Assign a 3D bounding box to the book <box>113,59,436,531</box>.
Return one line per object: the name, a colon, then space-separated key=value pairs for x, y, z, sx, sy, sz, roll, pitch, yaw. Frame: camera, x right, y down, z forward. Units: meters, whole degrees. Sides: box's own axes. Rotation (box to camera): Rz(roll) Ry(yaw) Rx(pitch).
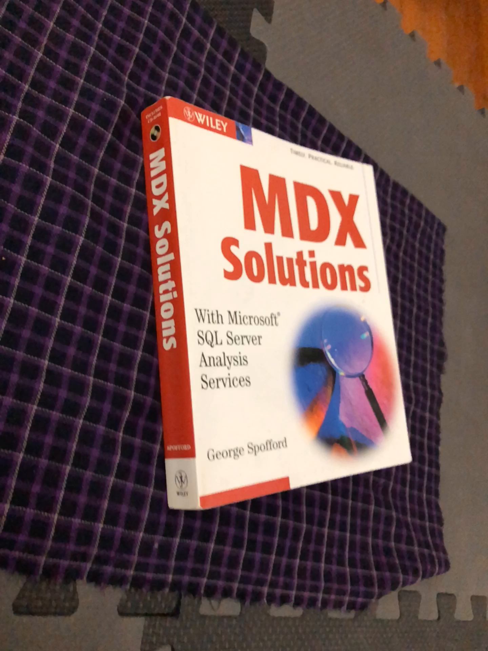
book: x=0.032 y=-0.019 z=0.382 sx=0.221 sy=0.050 sz=0.260 roll=1 pitch=78 yaw=-41
